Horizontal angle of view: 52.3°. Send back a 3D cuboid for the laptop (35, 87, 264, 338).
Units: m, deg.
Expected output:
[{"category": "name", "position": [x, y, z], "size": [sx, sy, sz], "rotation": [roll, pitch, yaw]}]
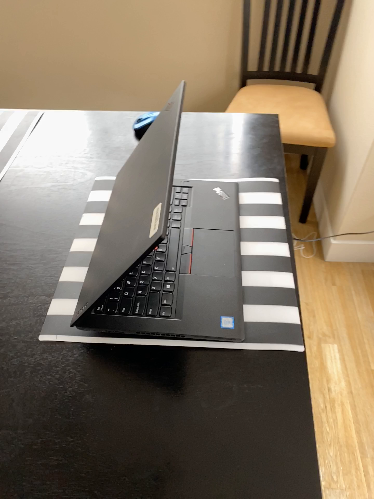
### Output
[{"category": "laptop", "position": [-0.023, -0.068, 0.535], "size": [0.220, 0.175, 0.322], "rotation": [2, 48, 4]}]
